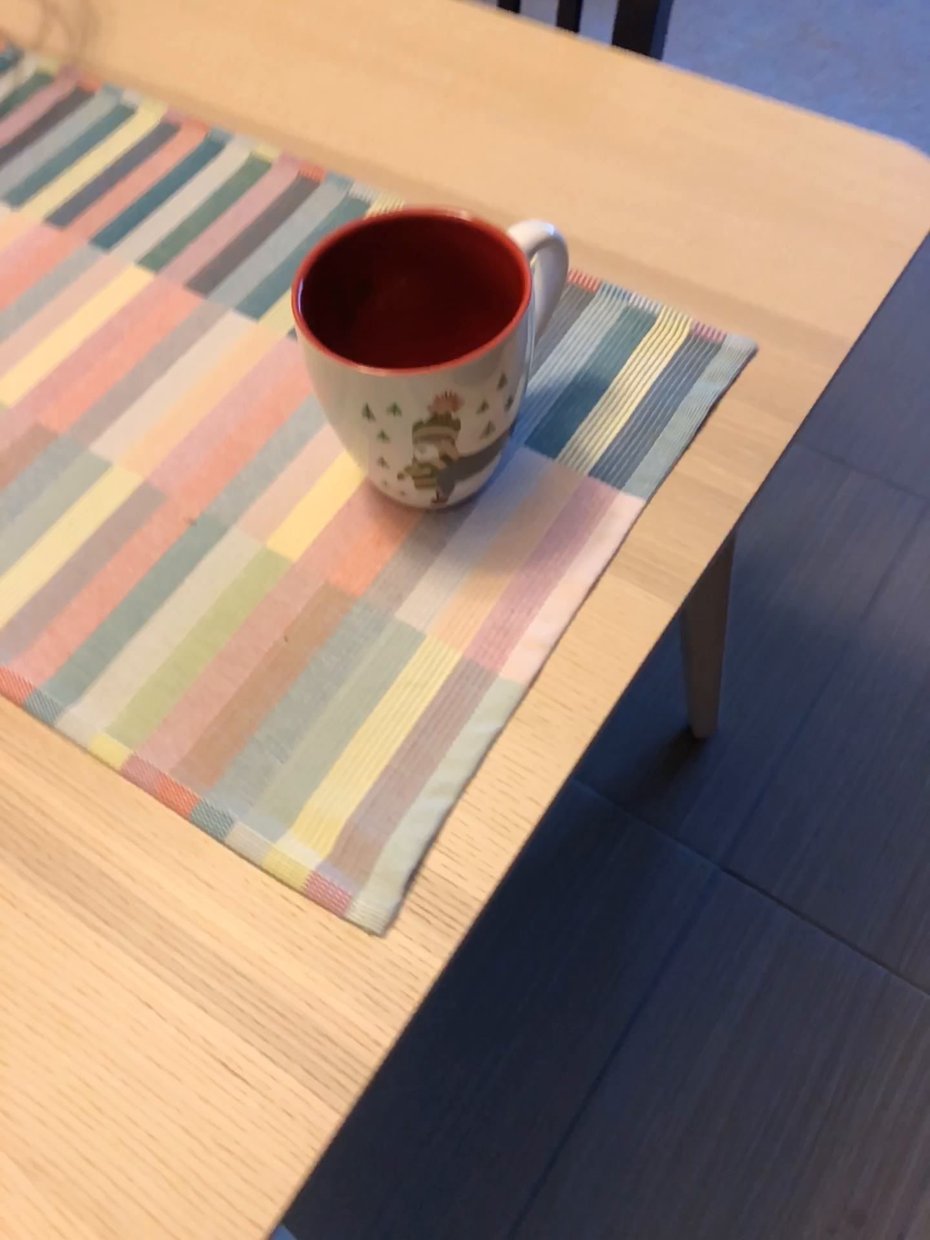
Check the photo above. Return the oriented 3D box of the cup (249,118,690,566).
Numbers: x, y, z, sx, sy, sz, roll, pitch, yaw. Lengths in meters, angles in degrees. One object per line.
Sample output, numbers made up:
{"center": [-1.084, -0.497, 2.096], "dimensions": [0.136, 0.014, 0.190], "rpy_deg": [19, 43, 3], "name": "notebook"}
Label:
{"center": [0.005, -0.119, 0.435], "dimensions": [0.140, 0.090, 0.100], "rpy_deg": [-40, 64, -19], "name": "cup"}
